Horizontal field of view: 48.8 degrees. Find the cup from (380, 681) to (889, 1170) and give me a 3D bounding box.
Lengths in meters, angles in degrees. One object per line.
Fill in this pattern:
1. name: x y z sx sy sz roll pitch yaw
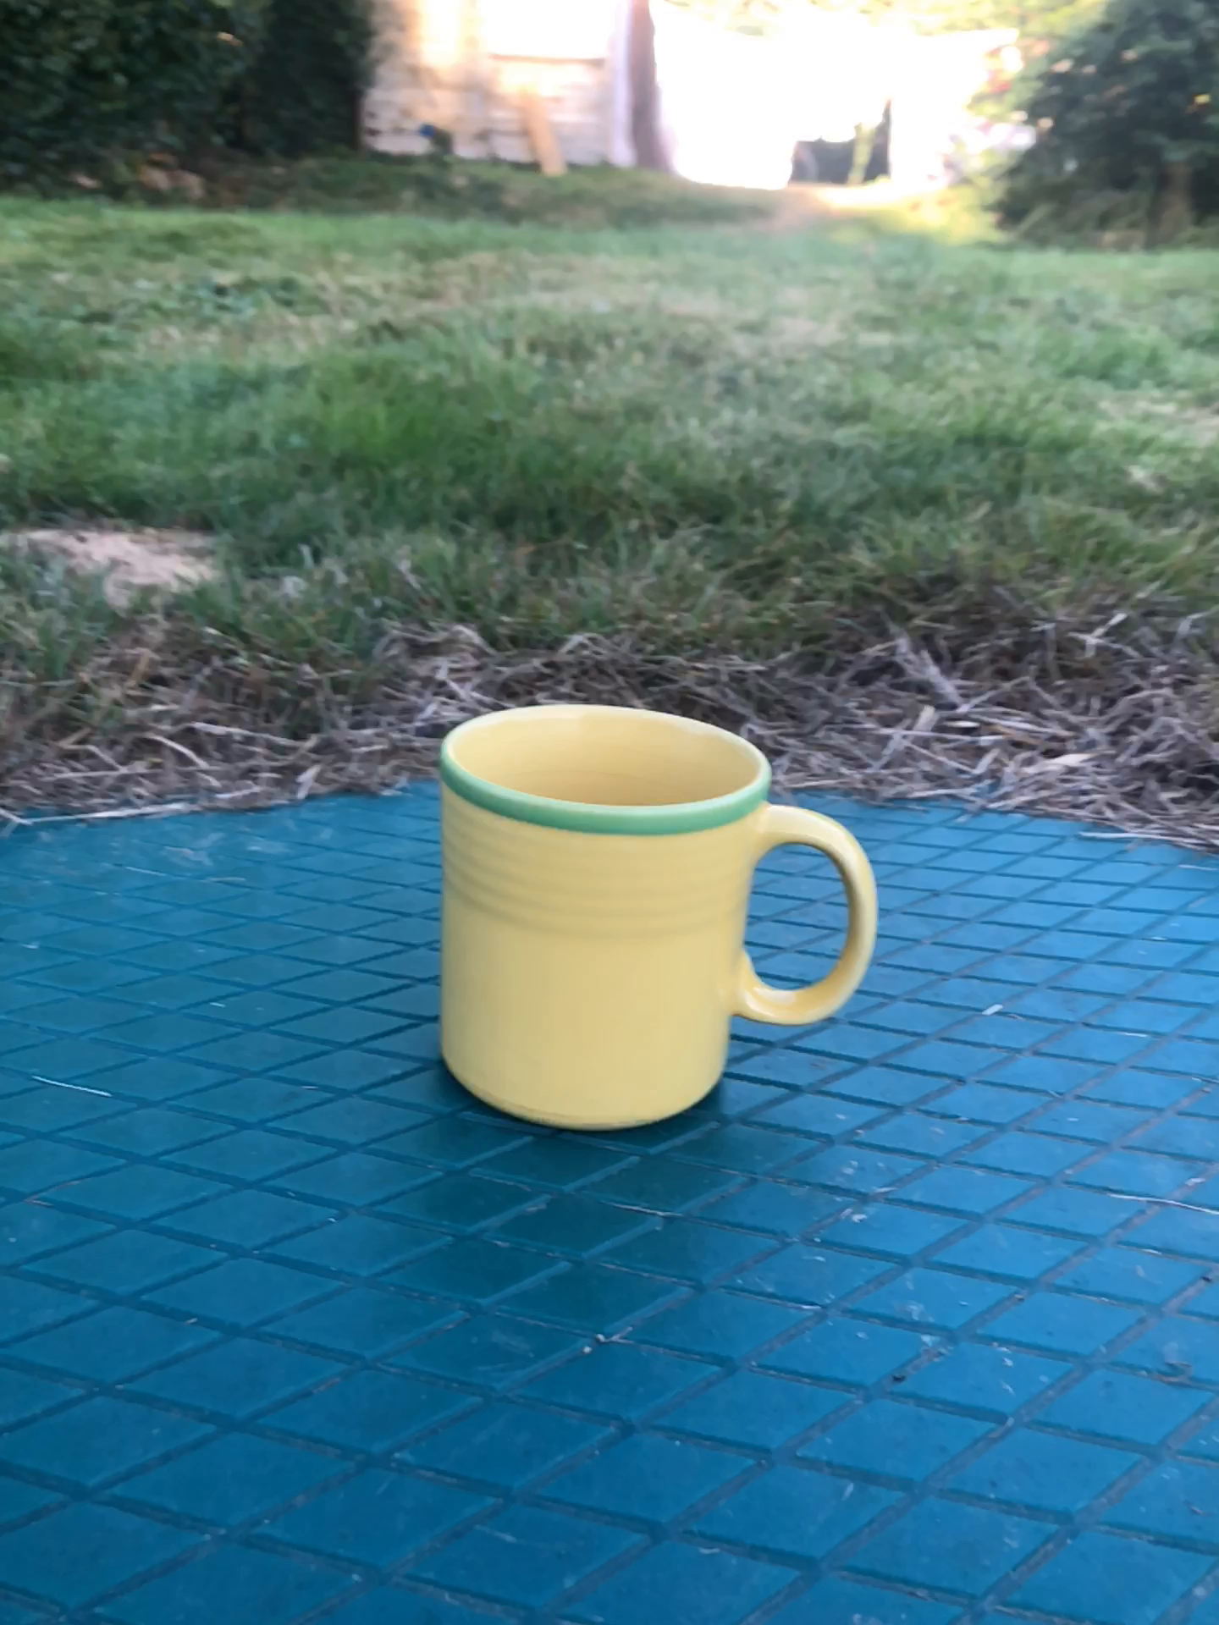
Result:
1. cup: 0.009 0.024 0.355 0.115 0.090 0.087 5 21 8
